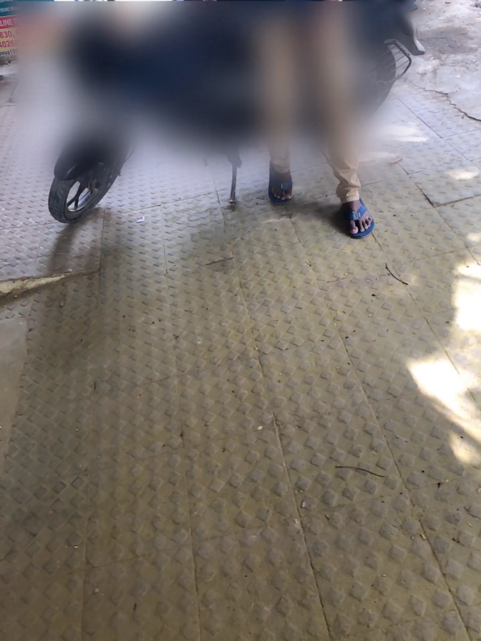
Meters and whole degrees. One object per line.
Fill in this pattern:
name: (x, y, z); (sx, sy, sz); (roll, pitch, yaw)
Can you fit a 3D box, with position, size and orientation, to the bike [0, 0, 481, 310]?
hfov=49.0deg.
bike: (-0.041, -1.038, 2.224); (1.745, 1.175, 0.787); (-24, 44, -8)
